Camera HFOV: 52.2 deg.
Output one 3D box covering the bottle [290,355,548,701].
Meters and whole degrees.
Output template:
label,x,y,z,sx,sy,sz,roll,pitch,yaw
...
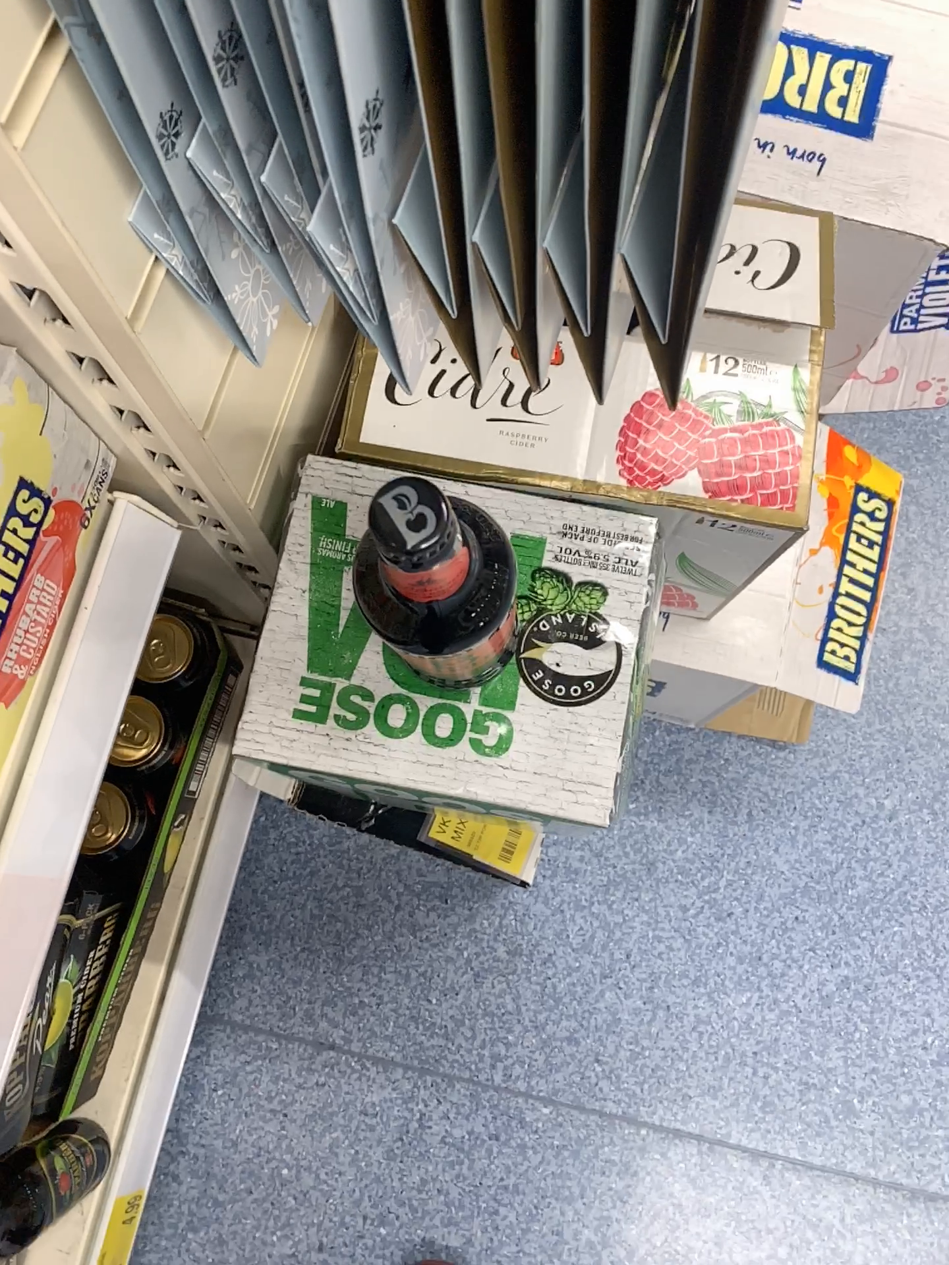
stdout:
label,x,y,z,sx,sy,sz,roll,pitch,yaw
bottle,-0.015,-0.029,0.443,0.070,0.236,0.070,0,78,2
